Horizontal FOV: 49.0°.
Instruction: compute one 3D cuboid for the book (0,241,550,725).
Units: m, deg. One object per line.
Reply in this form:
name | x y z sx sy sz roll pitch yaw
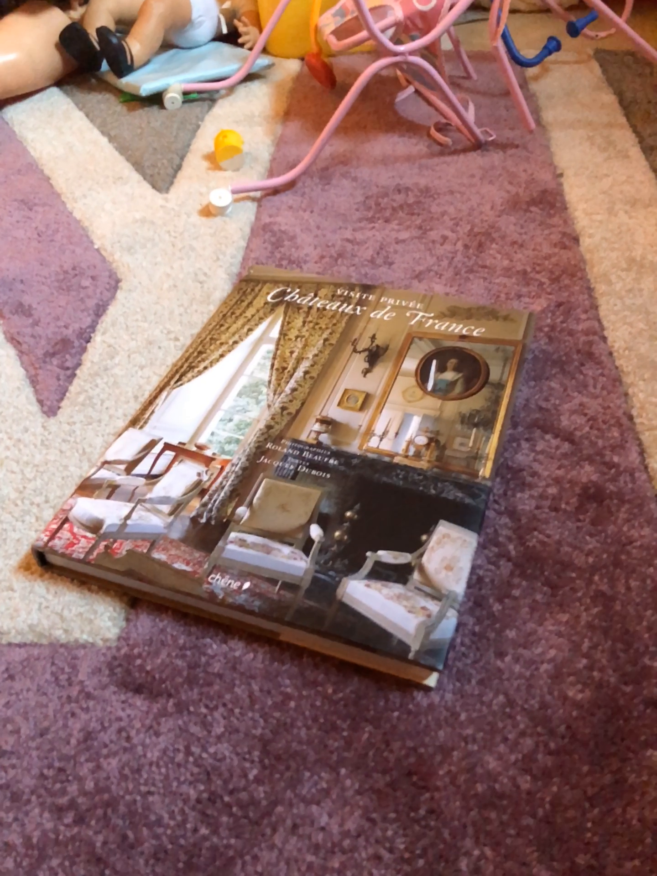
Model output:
book | -0.007 -0.012 0.504 0.260 0.050 0.342 13 47 16
